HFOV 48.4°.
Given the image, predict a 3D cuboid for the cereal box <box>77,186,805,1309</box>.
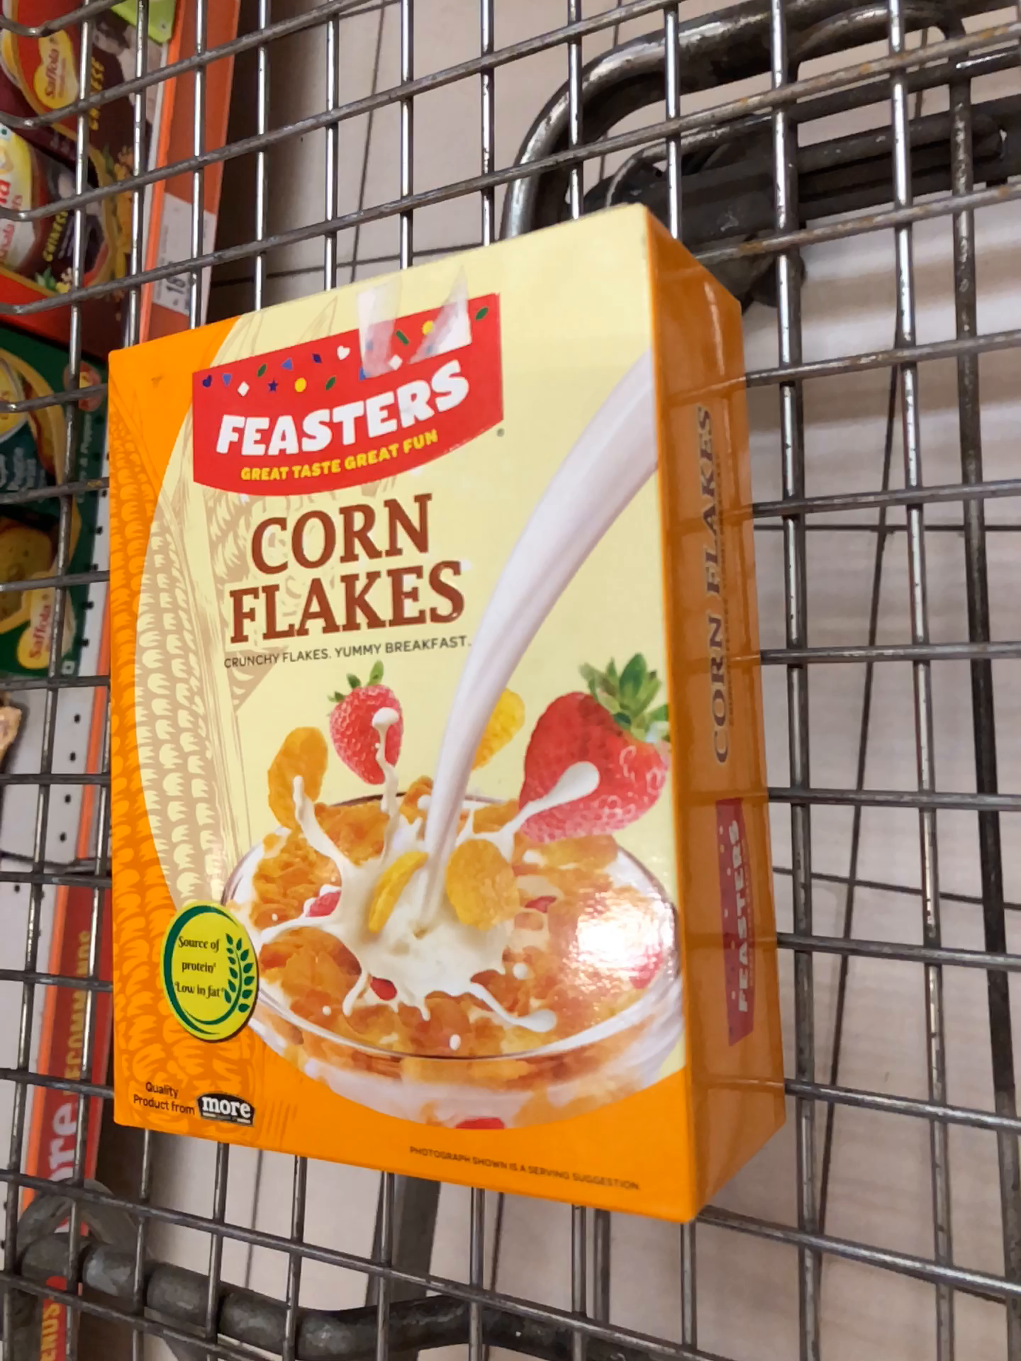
[{"bbox_3d":[-0.019,0.013,0.243,0.140,0.060,0.180,-3,87,29],"label":"cereal box"}]
